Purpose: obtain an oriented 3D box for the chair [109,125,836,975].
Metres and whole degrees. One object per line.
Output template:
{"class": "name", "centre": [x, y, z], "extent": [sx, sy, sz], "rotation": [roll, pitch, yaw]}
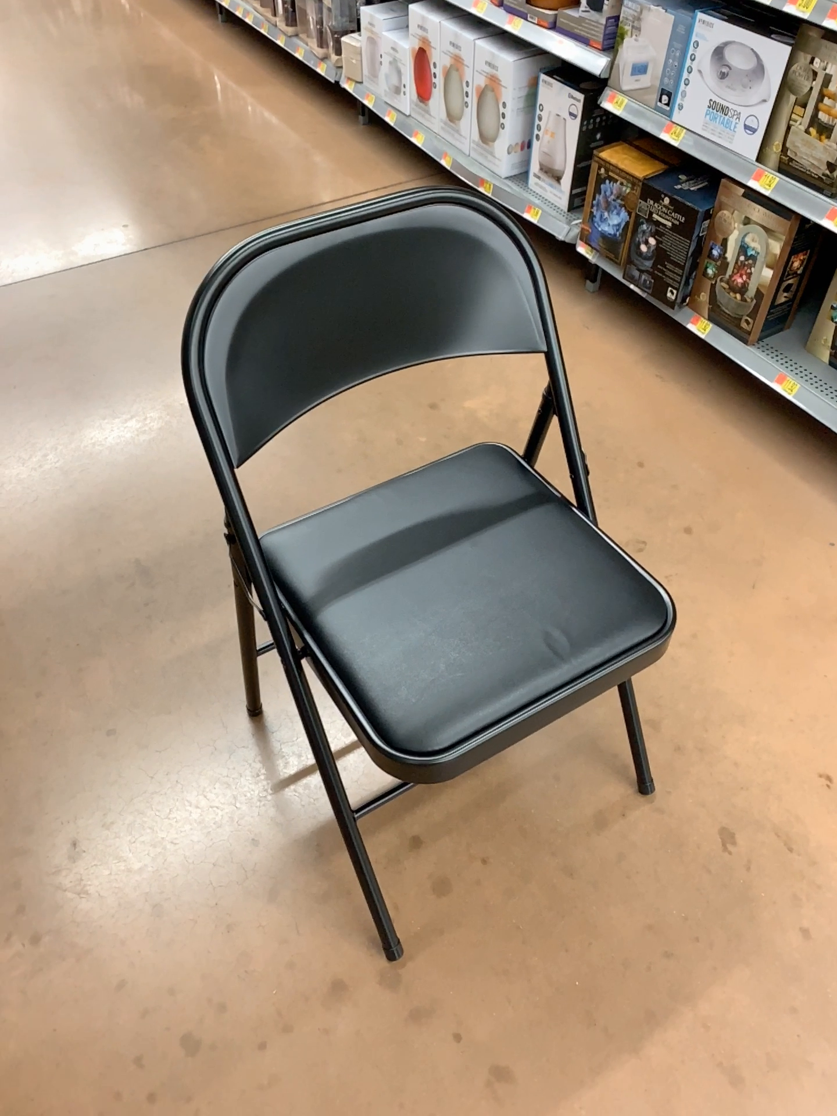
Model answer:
{"class": "chair", "centre": [0.050, 0.010, 0.952], "extent": [0.471, 0.697, 0.472], "rotation": [-24, 53, -21]}
